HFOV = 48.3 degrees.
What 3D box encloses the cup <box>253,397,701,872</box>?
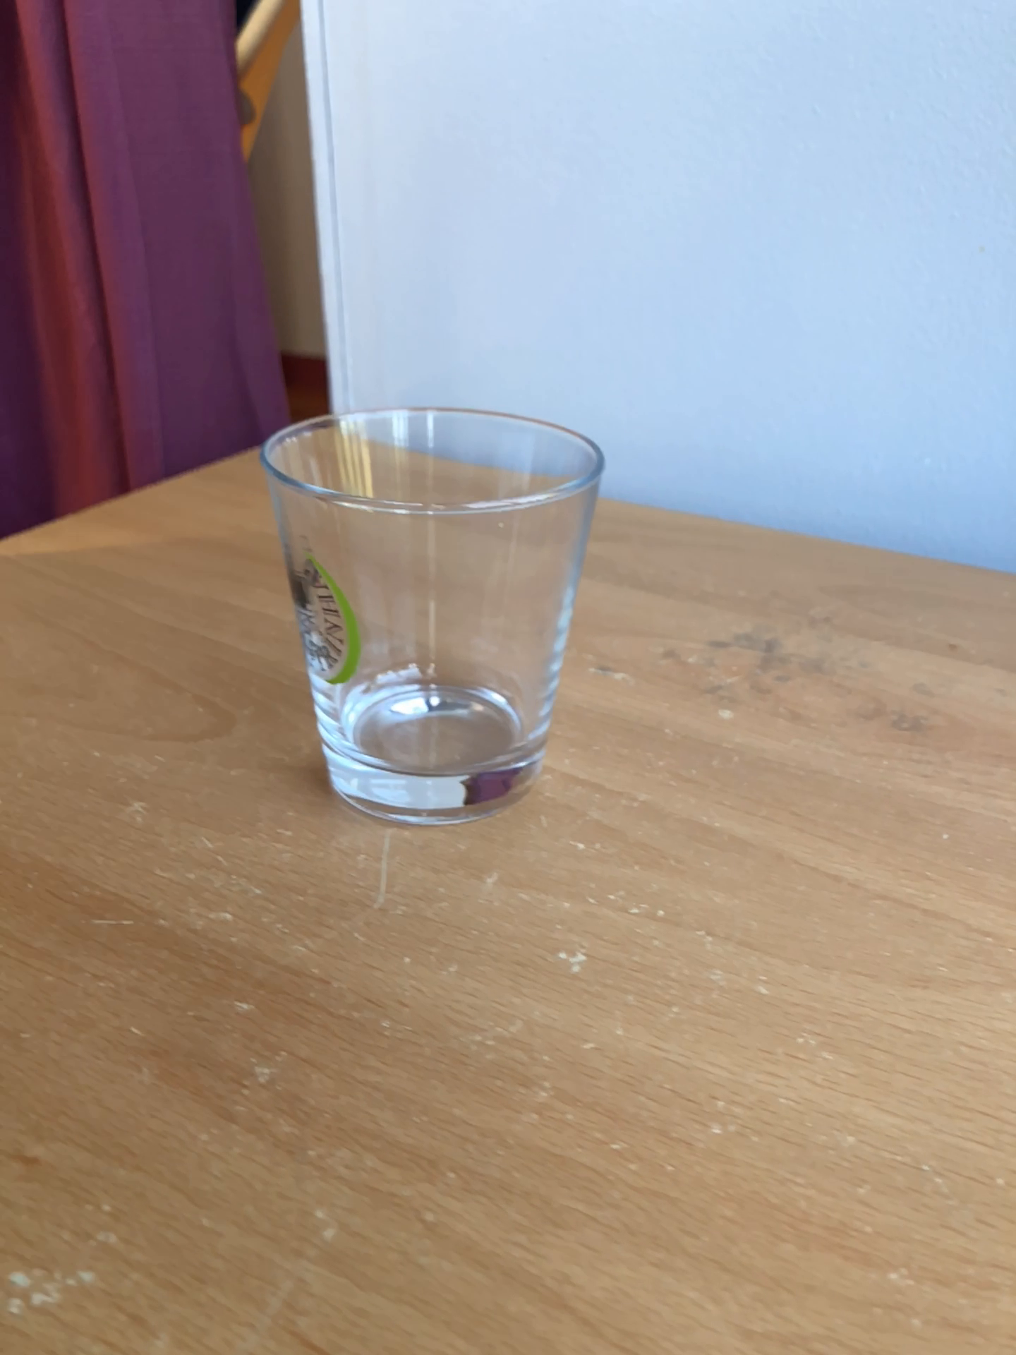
[{"bbox_3d":[-0.012,-0.016,0.254,0.076,0.073,0.079,1,26,0],"label":"cup"}]
